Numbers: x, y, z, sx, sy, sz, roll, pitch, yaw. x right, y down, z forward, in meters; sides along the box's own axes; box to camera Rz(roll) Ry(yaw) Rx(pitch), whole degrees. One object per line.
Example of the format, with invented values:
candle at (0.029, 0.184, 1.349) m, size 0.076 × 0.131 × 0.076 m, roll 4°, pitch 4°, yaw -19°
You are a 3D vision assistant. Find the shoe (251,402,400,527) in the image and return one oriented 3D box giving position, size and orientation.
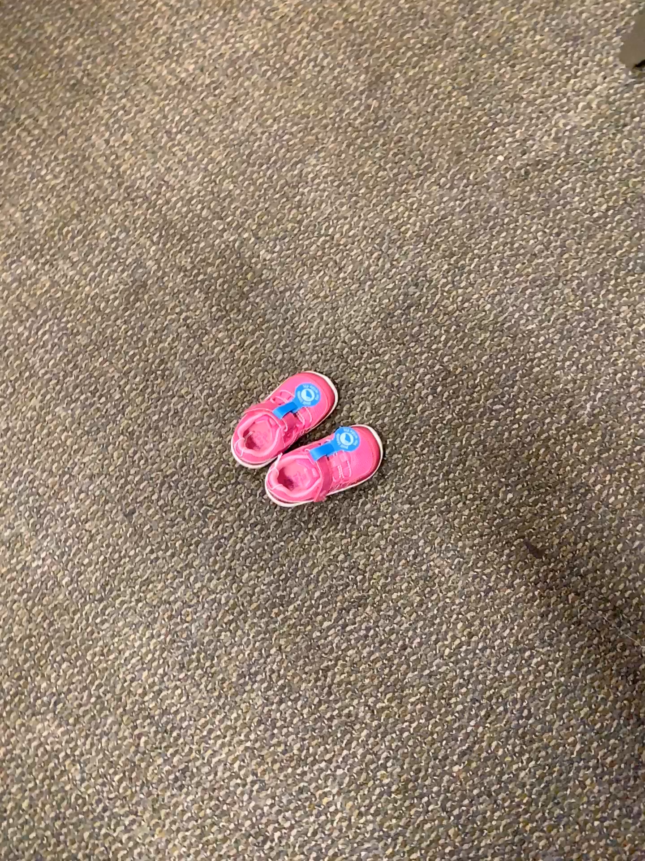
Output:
shoe at (0.004, 0.038, 0.708) m, size 0.140 × 0.040 × 0.070 m, roll -30°, pitch 80°, yaw -1°

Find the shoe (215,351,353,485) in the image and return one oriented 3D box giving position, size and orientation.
shoe at (-0.042, -0.013, 0.740) m, size 0.140 × 0.040 × 0.070 m, roll -42°, pitch 81°, yaw -3°
